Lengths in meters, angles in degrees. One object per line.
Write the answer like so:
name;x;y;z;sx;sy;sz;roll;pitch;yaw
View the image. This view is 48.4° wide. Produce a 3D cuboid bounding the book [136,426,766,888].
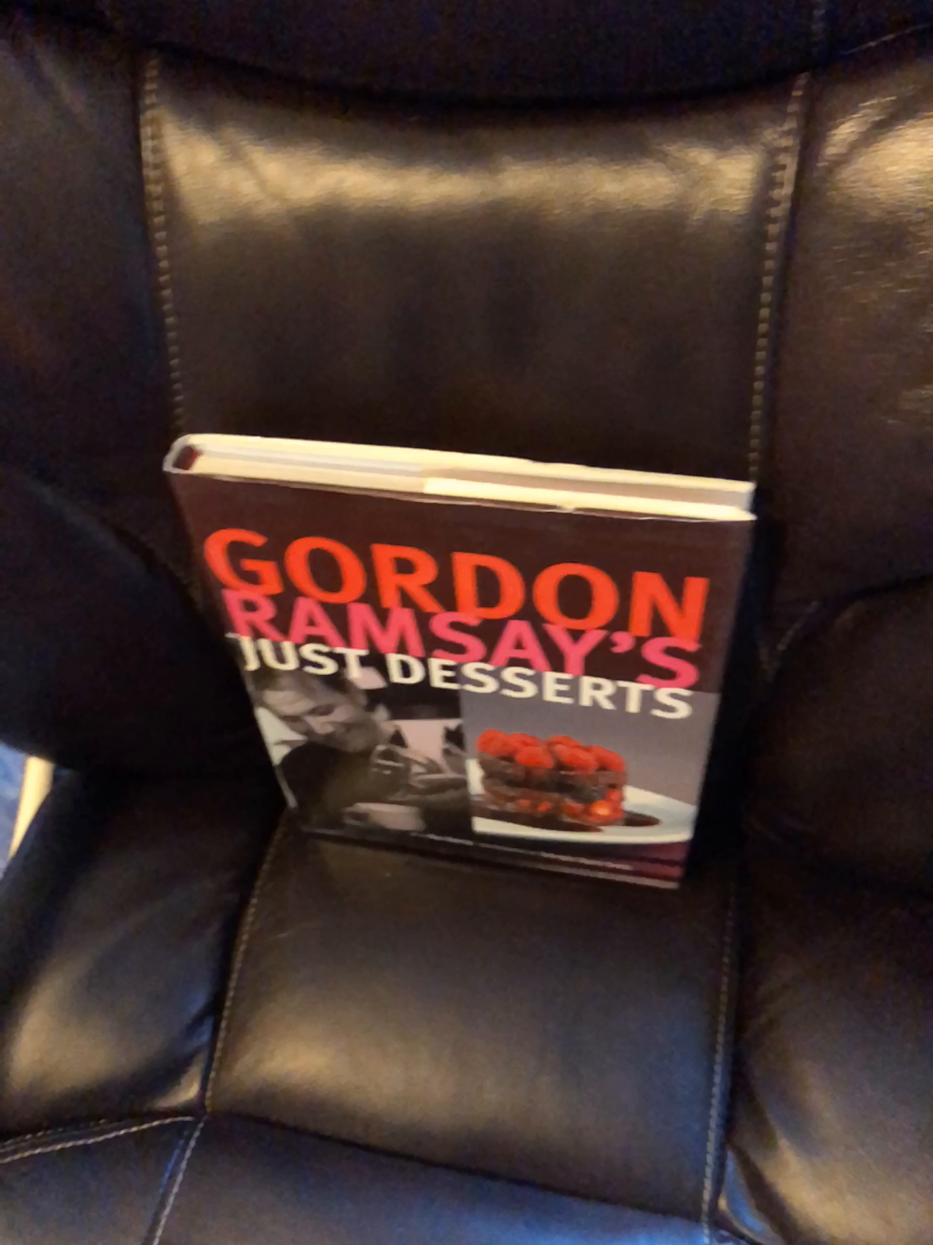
book;0.002;0.036;0.497;0.230;0.294;0.030;7;54;11
